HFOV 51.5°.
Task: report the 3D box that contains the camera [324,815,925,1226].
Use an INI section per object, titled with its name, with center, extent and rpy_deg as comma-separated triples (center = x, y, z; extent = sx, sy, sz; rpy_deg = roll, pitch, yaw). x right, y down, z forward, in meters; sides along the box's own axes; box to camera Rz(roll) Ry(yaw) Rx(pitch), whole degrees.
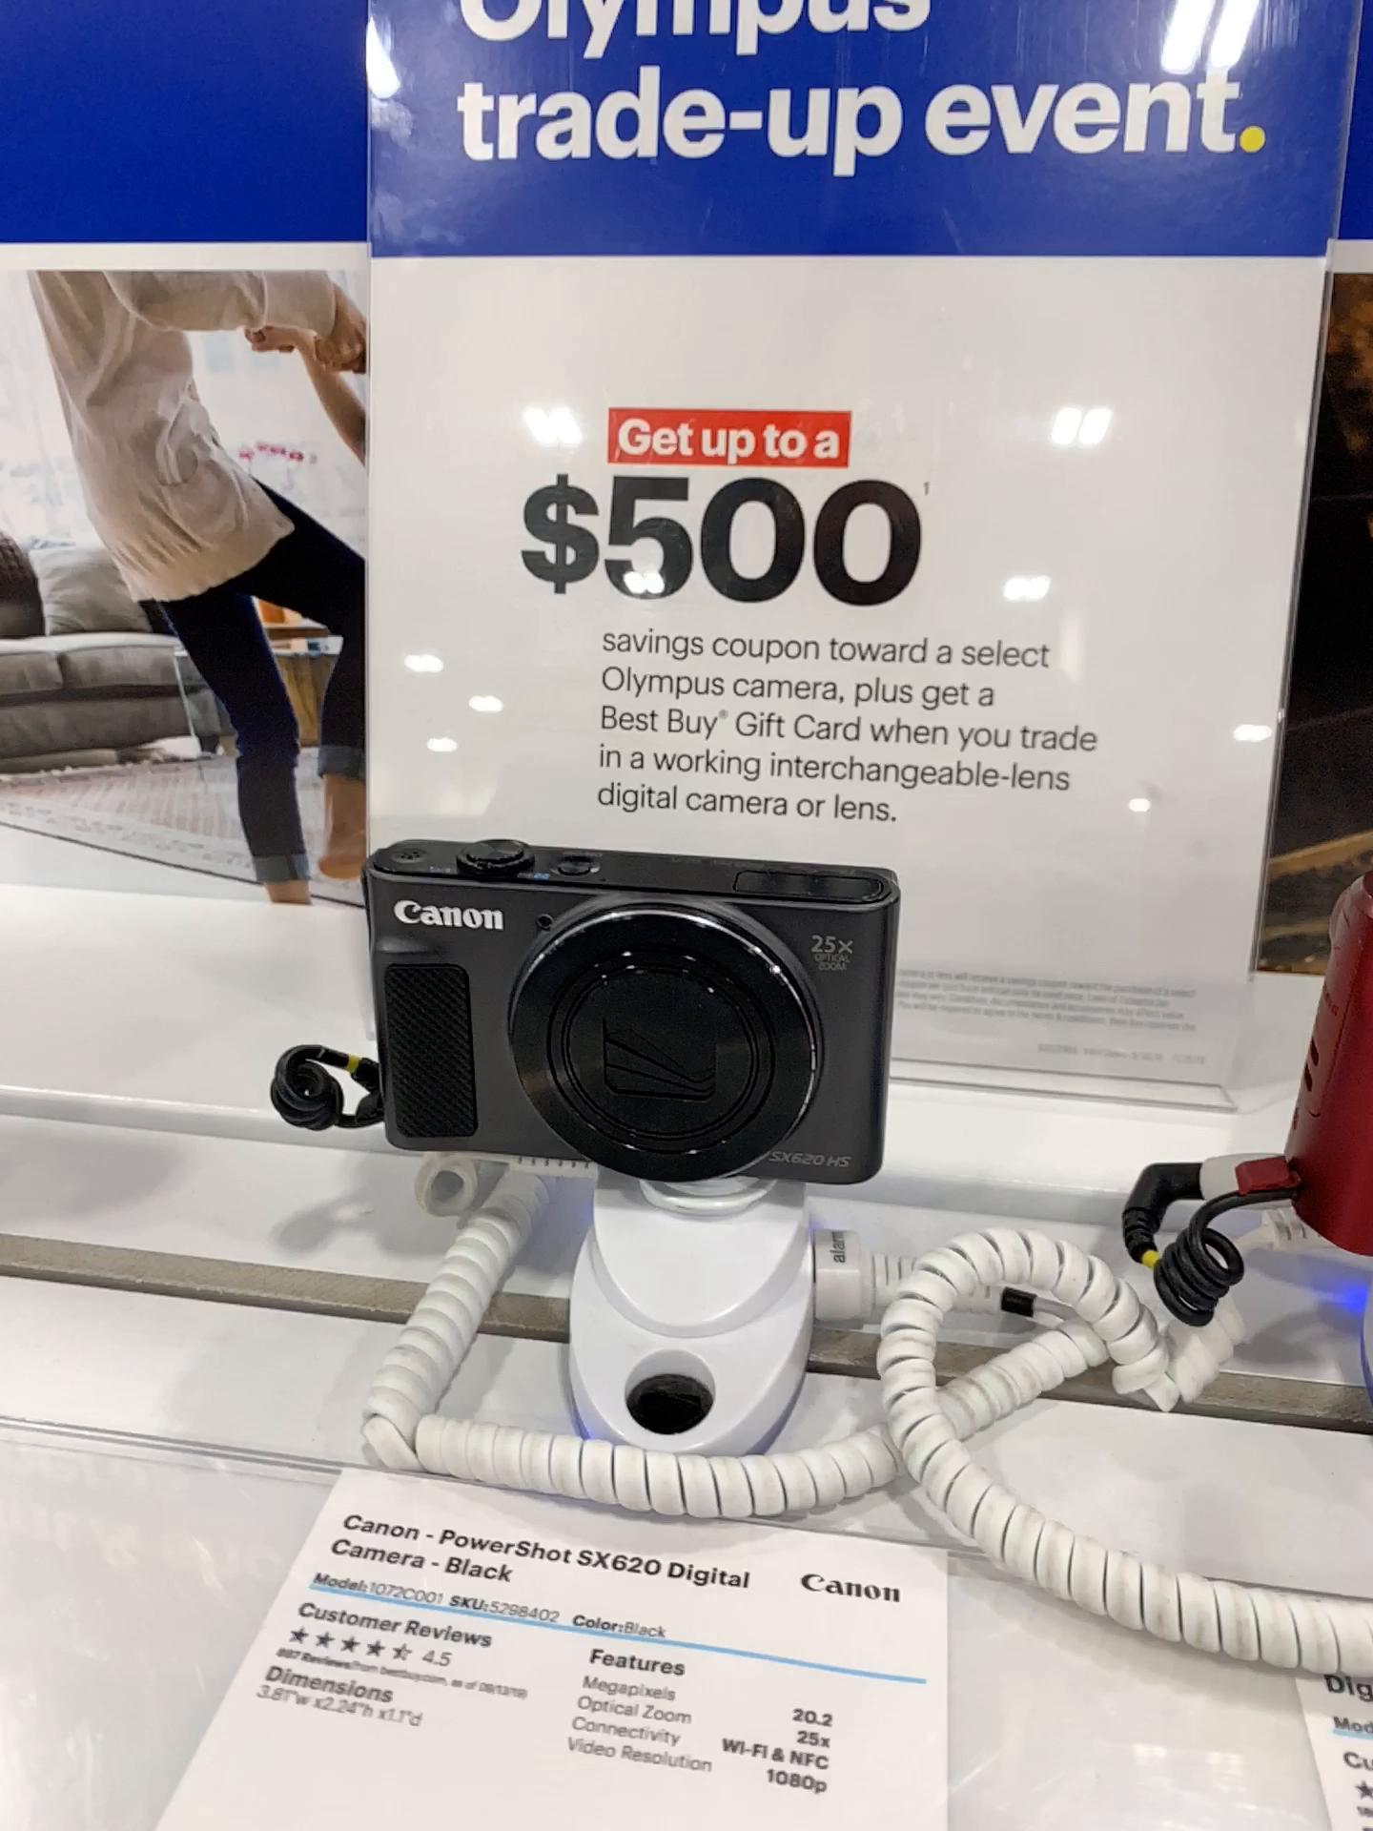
[camera]
center = -0.009, 0.018, 0.258
extent = 0.100, 0.060, 0.030
rpy_deg = 3, 24, 9
